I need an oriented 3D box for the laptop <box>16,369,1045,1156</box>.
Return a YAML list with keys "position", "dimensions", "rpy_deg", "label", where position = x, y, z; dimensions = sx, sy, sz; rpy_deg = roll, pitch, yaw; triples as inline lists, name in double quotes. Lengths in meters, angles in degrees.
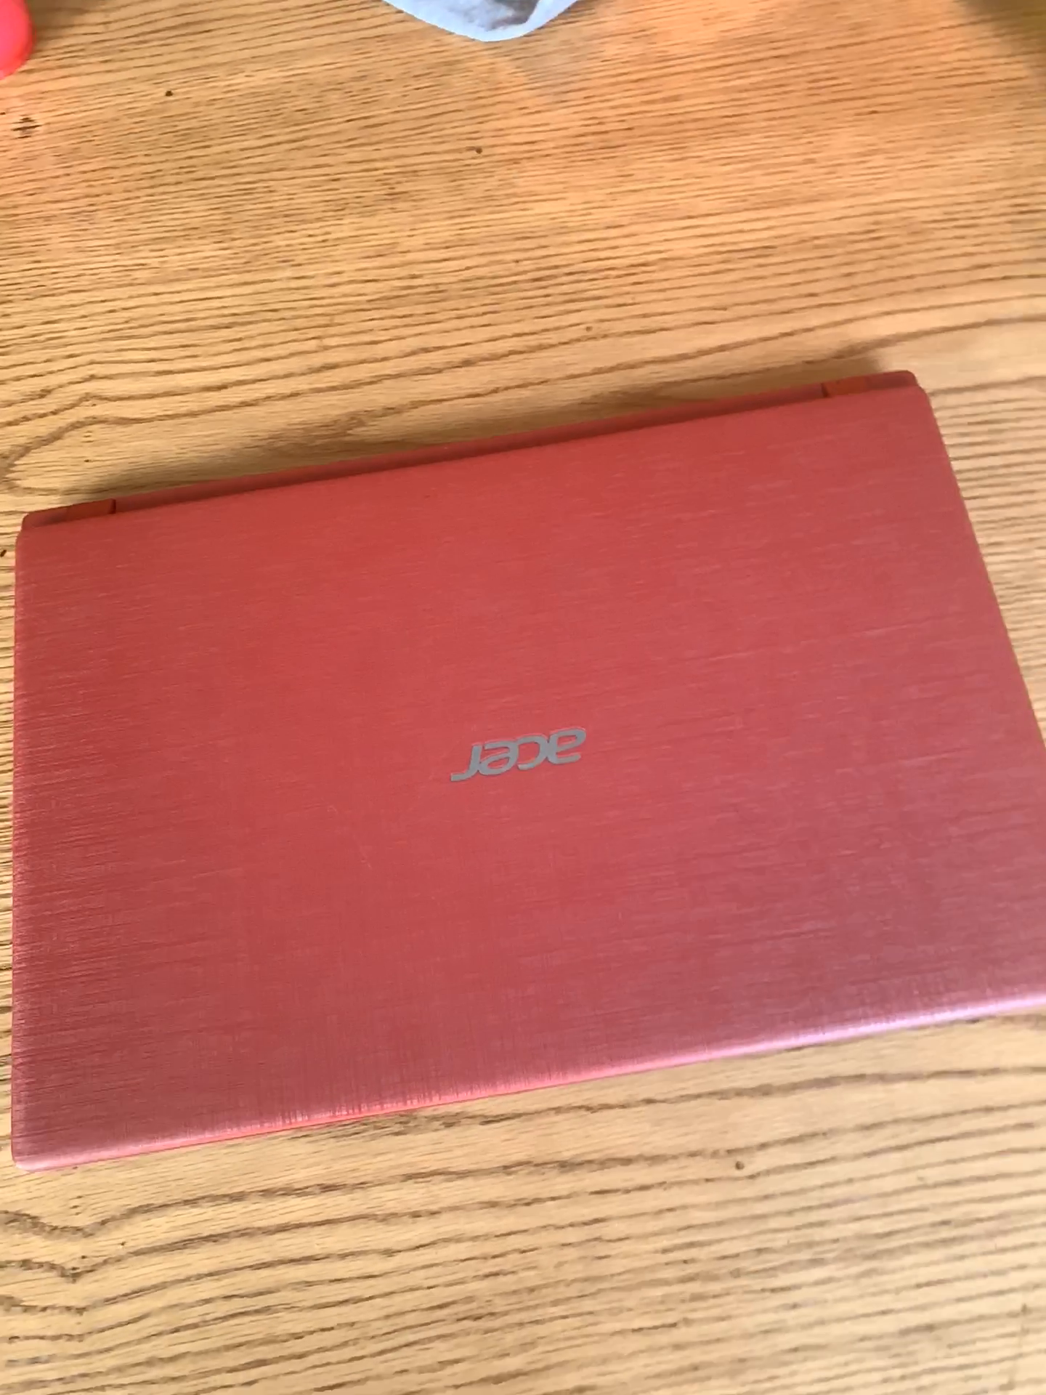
- position: [-0.006, 0.014, 0.395]
  dimensions: [0.362, 0.013, 0.236]
  rpy_deg: [-9, 72, 1]
  label: "laptop"
